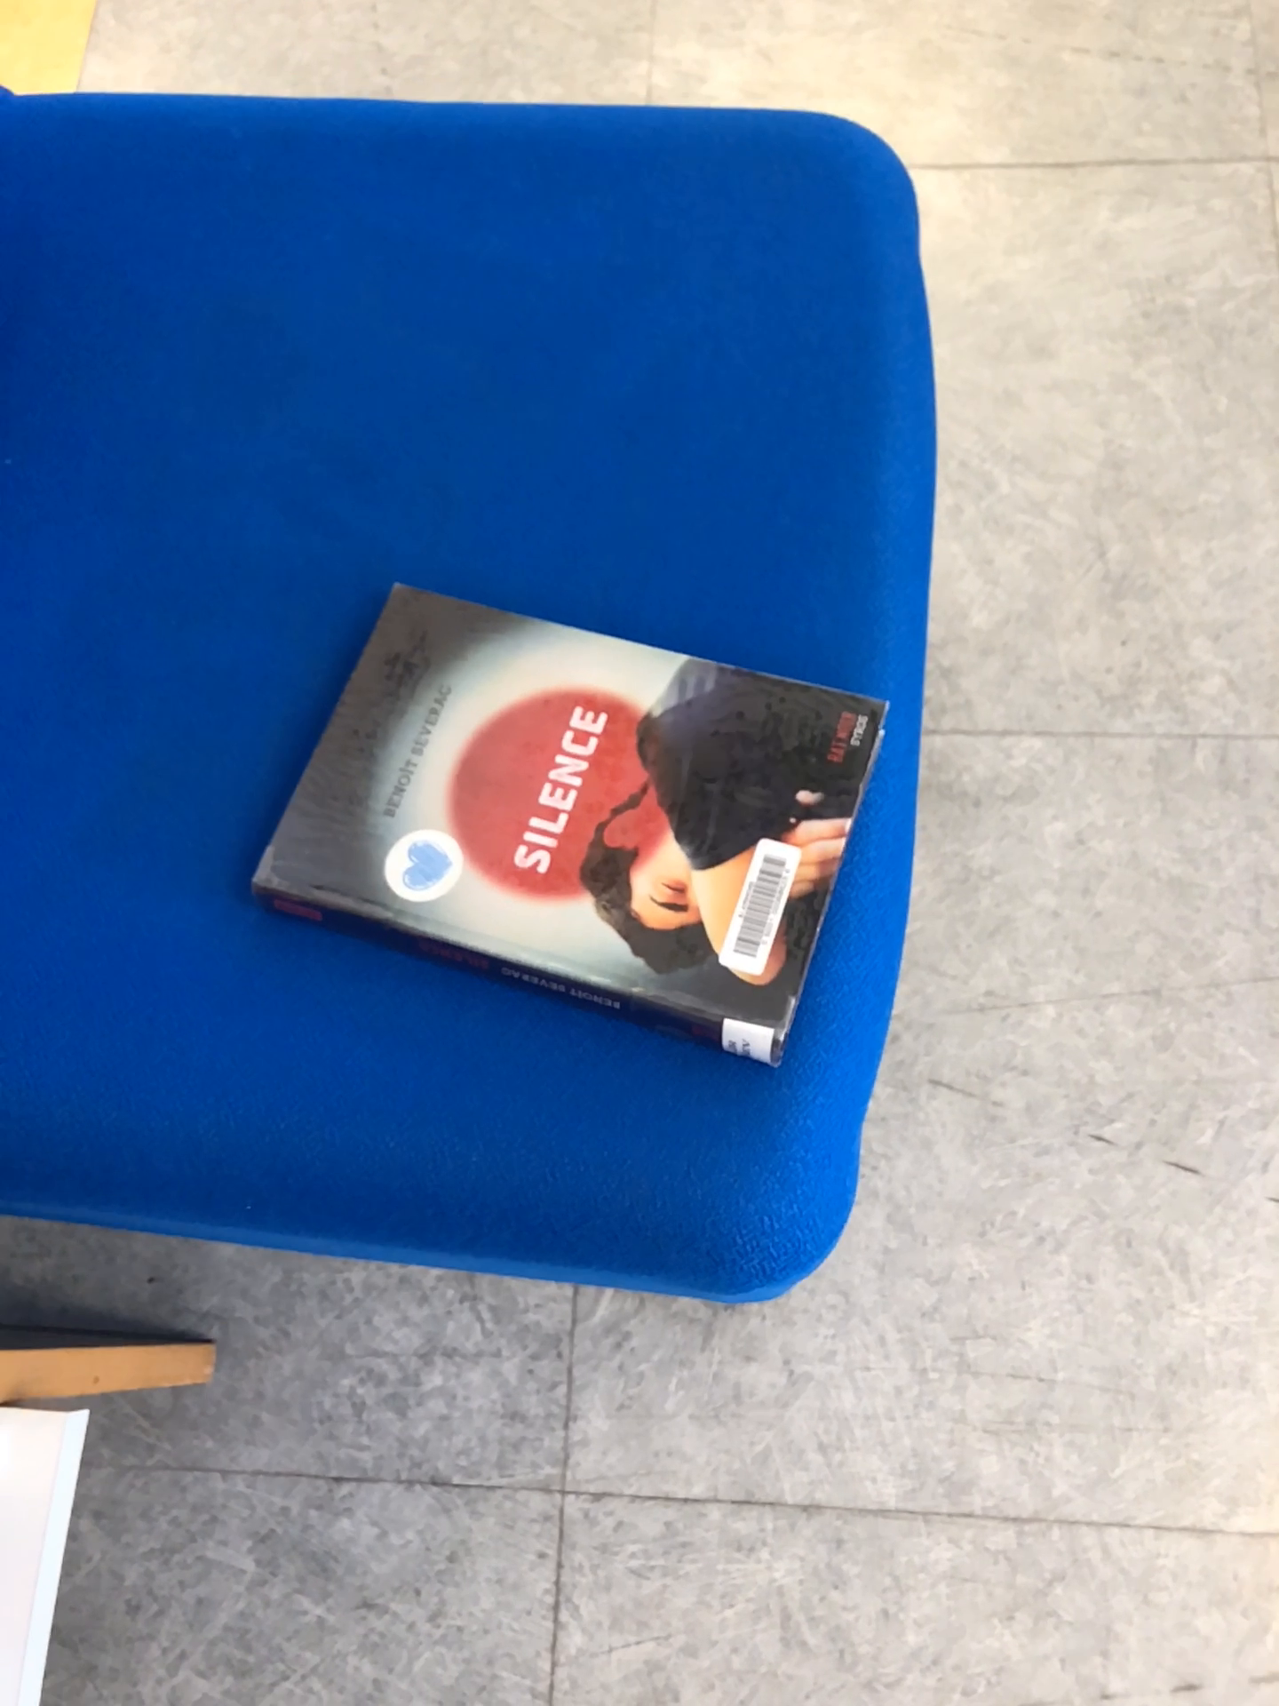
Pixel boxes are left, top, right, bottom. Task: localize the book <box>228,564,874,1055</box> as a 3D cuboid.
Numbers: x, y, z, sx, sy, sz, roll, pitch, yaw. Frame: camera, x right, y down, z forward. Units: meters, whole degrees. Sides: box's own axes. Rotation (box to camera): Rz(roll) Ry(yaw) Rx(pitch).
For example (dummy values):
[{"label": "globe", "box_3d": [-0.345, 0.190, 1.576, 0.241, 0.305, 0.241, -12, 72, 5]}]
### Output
[{"label": "book", "box_3d": [-0.031, -0.023, 0.547, 0.211, 0.024, 0.147, 15, 70, 12]}]
